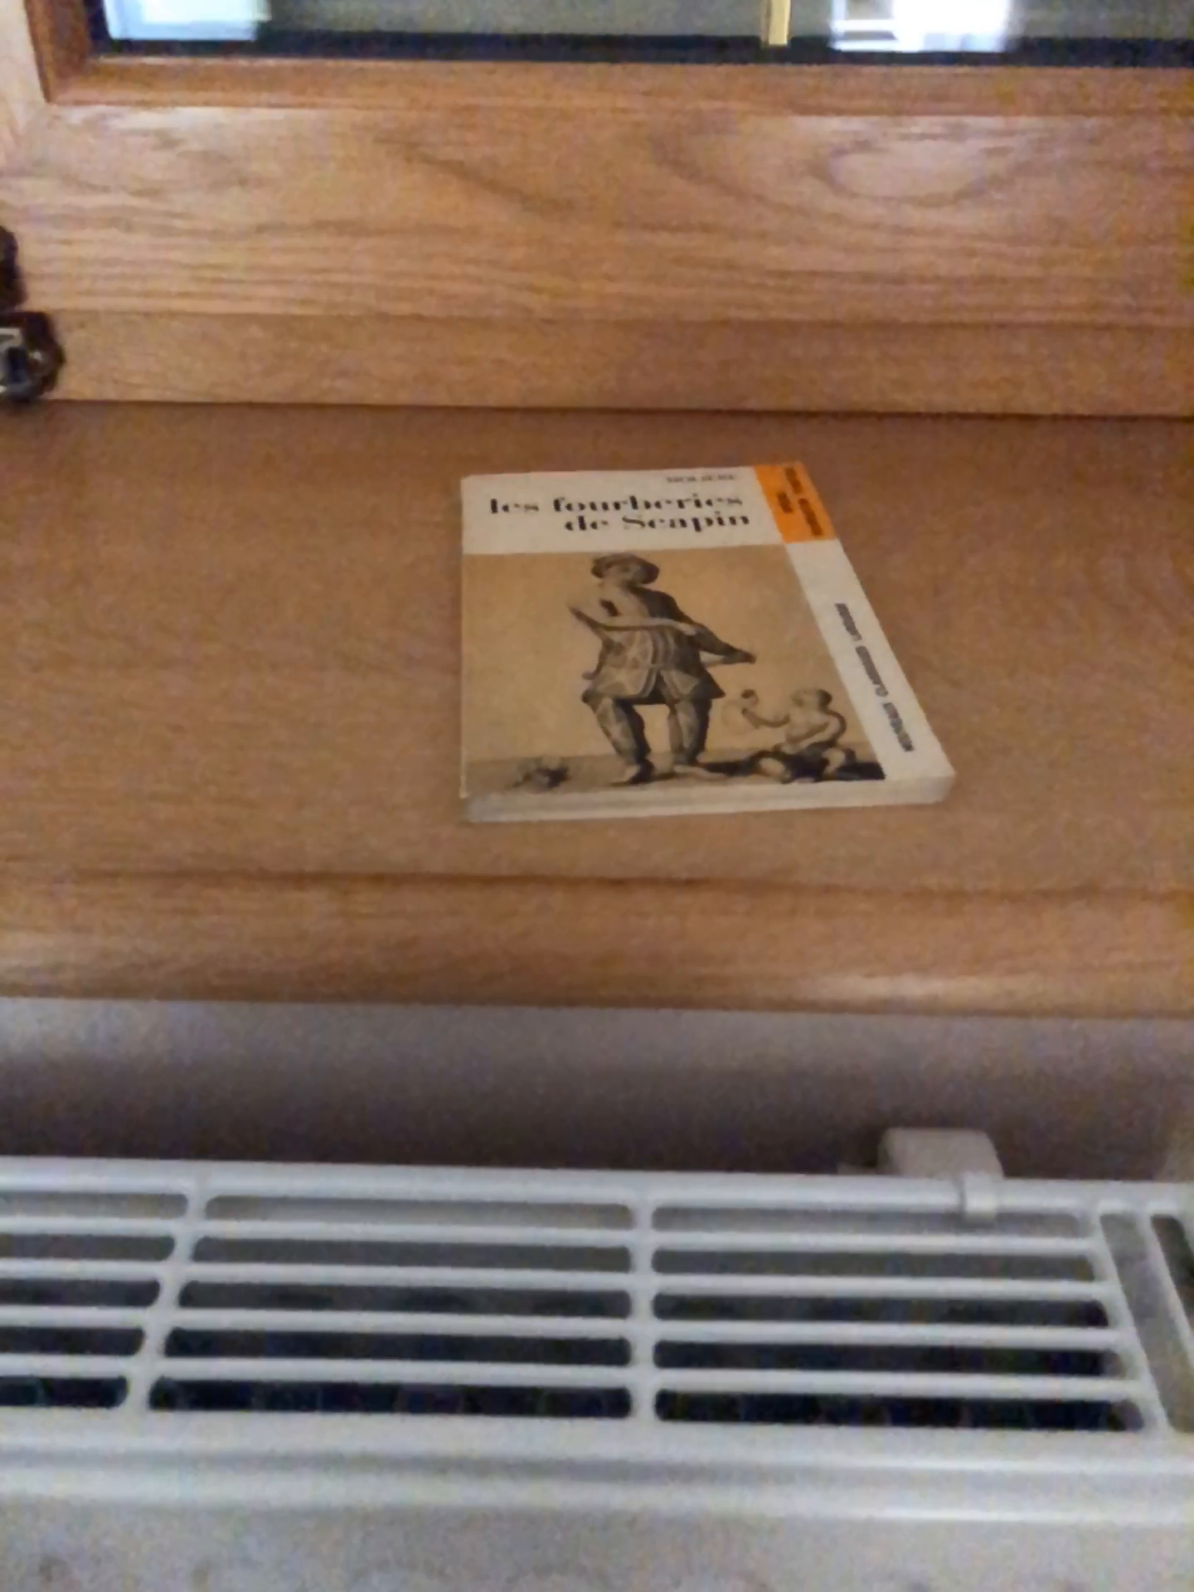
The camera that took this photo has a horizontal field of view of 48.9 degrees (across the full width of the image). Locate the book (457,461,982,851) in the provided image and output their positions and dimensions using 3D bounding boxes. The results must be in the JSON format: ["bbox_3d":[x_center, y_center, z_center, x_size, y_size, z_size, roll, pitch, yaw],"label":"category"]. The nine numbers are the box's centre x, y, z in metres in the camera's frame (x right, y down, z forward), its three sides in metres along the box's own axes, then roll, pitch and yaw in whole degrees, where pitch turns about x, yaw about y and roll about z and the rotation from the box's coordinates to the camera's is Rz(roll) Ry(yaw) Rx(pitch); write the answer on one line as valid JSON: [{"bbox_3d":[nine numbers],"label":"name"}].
[{"bbox_3d":[0.021,-0.049,0.363,0.117,0.015,0.175,-2,37,-4],"label":"book"}]
